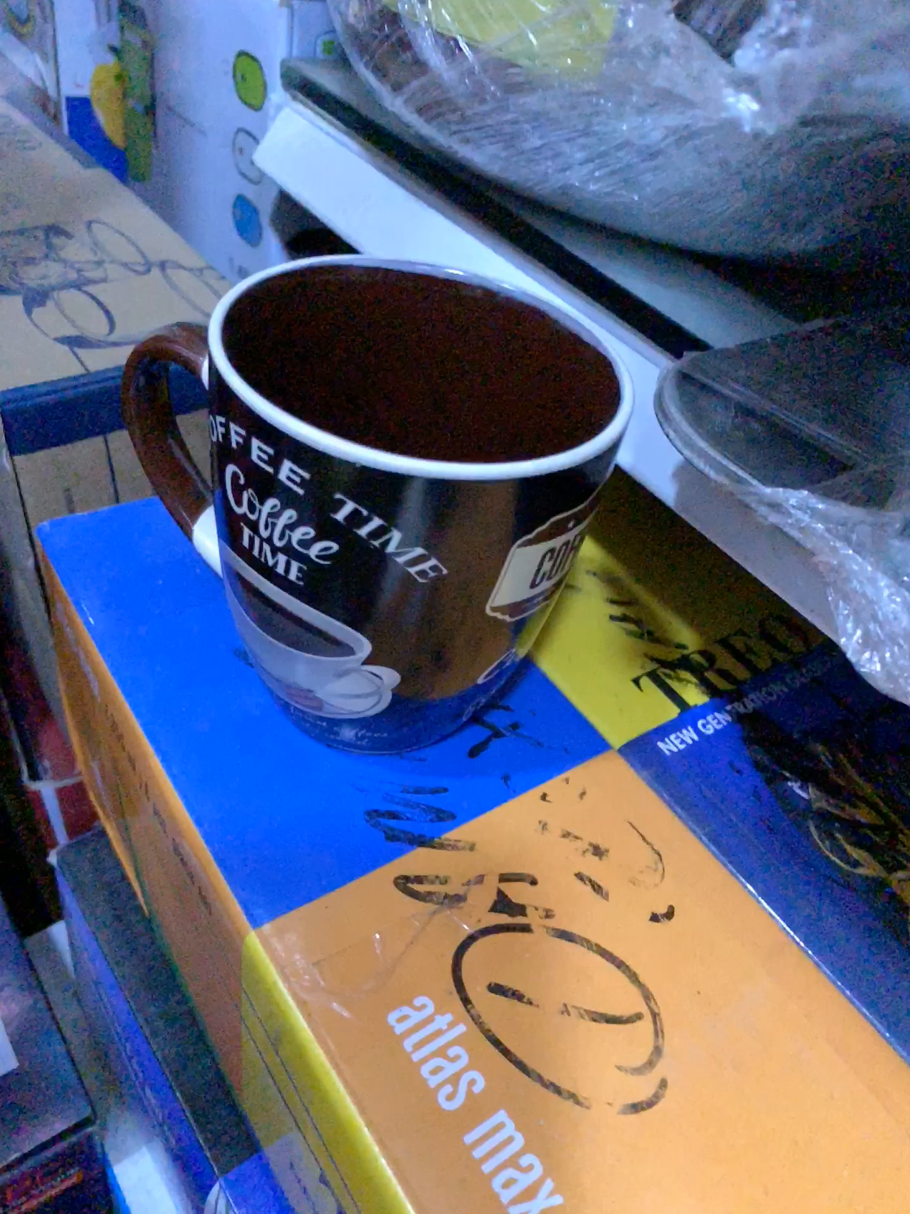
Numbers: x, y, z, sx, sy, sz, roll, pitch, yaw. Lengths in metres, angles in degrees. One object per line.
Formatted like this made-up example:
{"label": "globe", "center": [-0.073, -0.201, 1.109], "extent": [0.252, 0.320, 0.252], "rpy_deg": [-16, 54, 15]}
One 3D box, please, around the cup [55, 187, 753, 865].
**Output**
{"label": "cup", "center": [-0.015, -0.024, 0.201], "extent": [0.110, 0.079, 0.070], "rpy_deg": [33, 46, 23]}
